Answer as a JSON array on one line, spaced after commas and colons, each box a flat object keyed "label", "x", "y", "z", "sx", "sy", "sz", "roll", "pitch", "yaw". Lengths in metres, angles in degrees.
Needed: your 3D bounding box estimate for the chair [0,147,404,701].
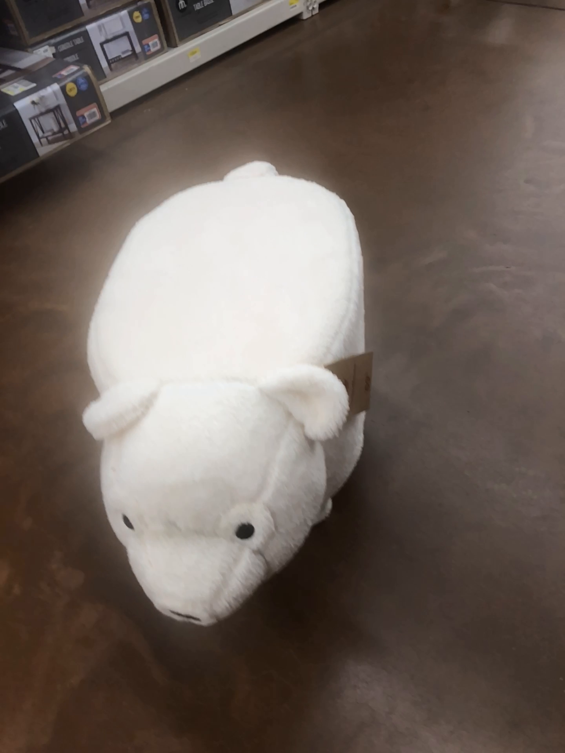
[{"label": "chair", "x": -0.064, "y": 0.019, "z": 0.842, "sx": 0.440, "sy": 0.349, "sz": 0.631, "roll": 1, "pitch": 47, "yaw": 11}]
